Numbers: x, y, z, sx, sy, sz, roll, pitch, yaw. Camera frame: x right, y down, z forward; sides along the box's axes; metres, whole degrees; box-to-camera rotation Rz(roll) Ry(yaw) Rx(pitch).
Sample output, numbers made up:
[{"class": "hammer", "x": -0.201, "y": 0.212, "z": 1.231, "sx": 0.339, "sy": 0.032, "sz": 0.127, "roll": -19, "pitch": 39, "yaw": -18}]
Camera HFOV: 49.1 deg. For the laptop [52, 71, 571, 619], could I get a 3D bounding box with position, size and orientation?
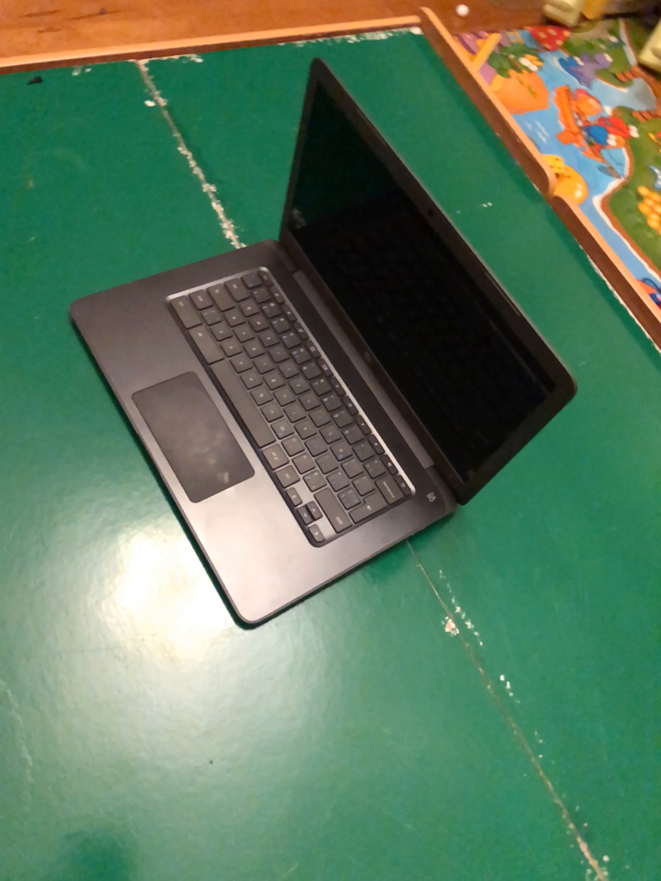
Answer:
[{"class": "laptop", "x": -0.039, "y": -0.076, "z": 0.559, "sx": 0.211, "sy": 0.204, "sz": 0.318, "roll": -24, "pitch": 70, "yaw": -25}]
